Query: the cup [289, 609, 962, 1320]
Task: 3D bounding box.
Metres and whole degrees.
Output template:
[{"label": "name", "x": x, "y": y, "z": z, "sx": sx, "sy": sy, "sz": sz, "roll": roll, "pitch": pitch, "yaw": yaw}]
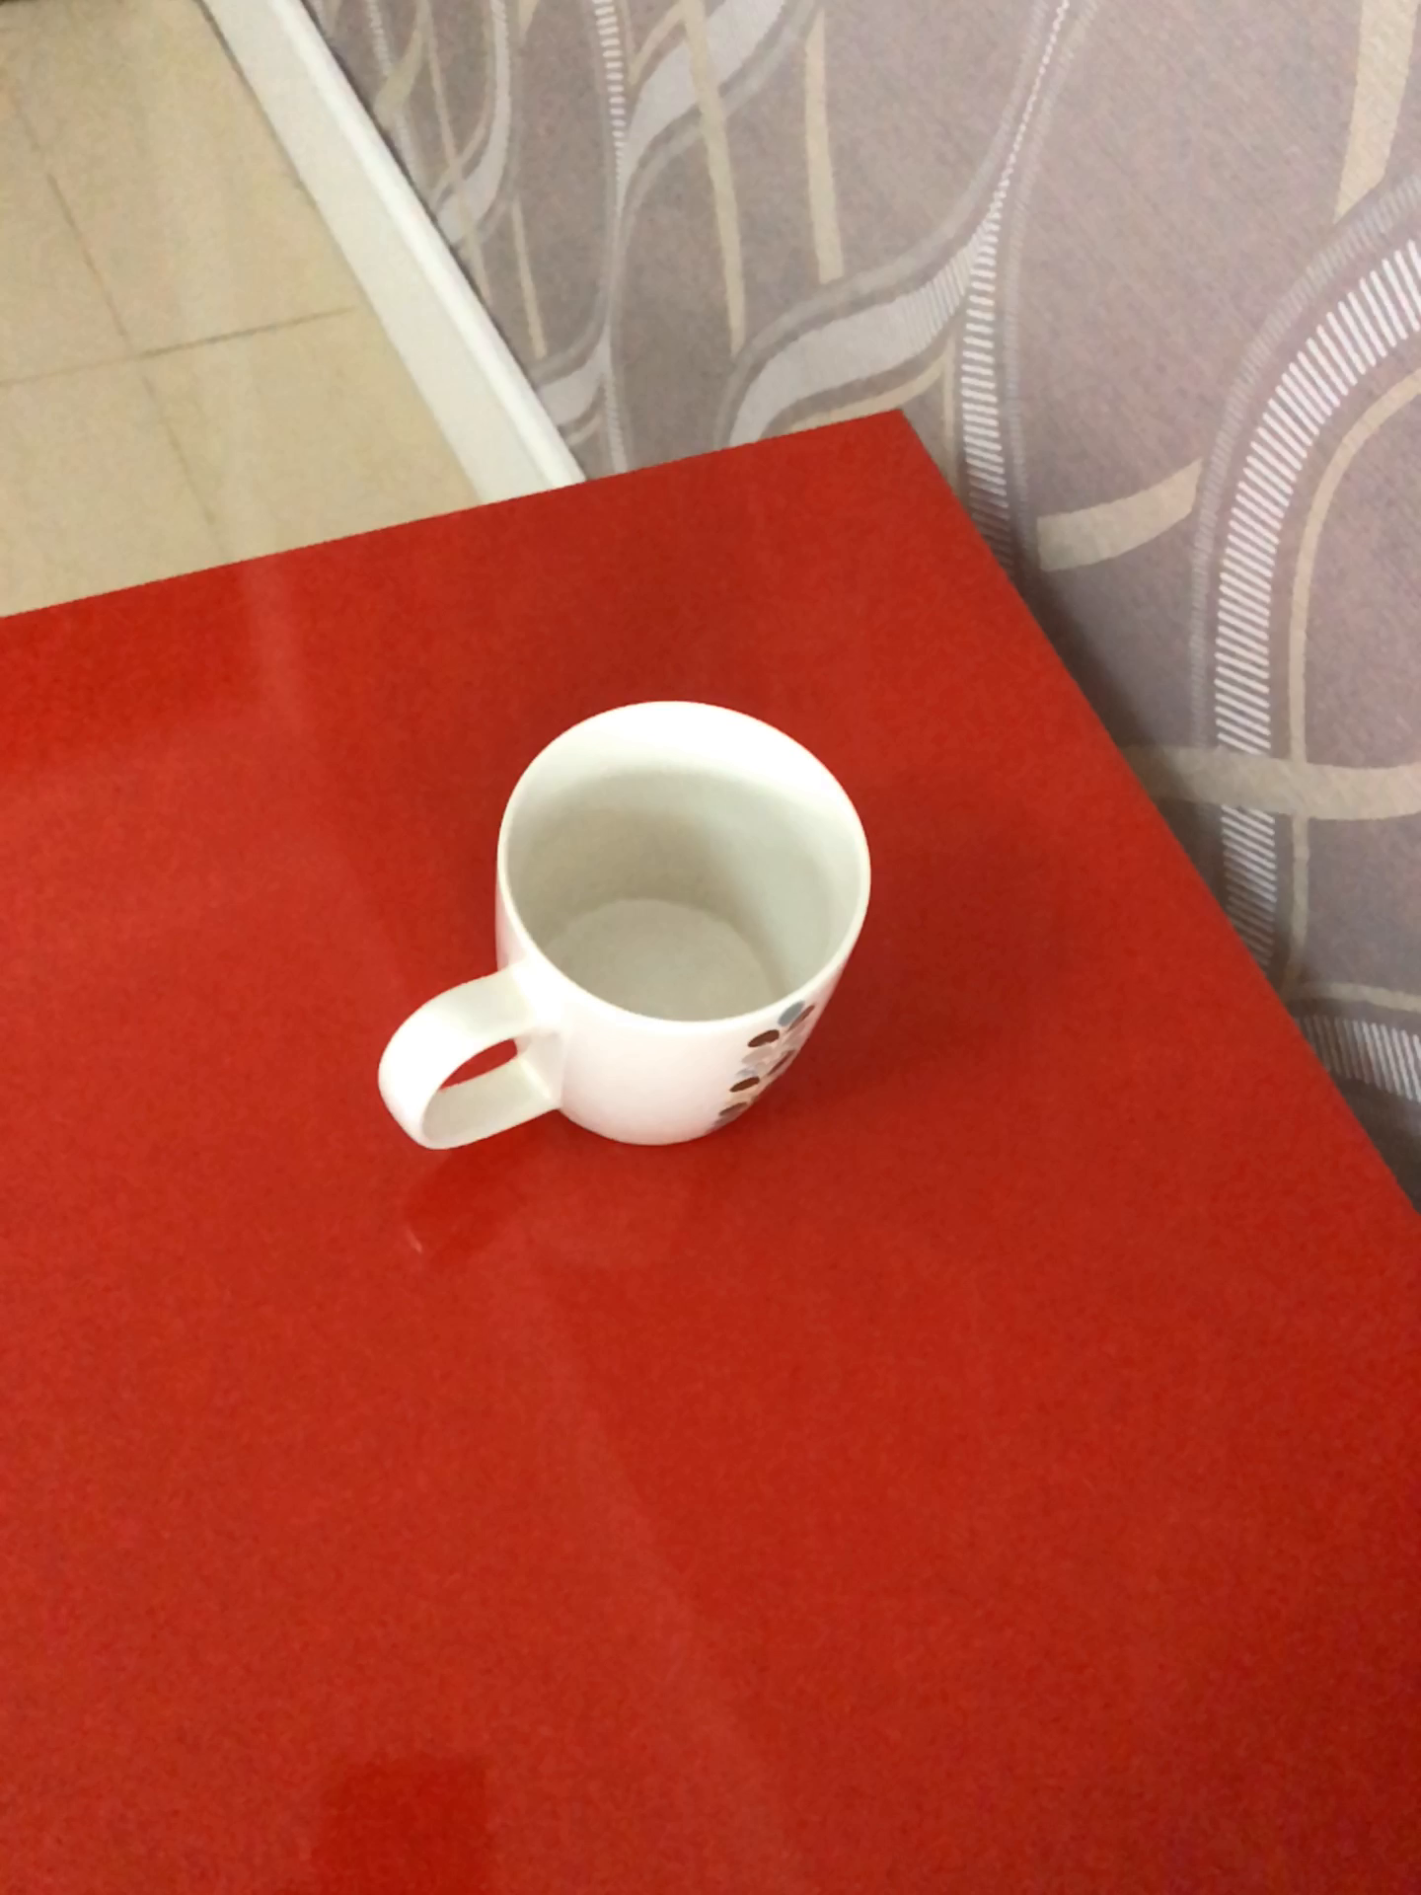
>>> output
[{"label": "cup", "x": -0.025, "y": 0.008, "z": 0.401, "sx": 0.120, "sy": 0.119, "sz": 0.090, "roll": -33, "pitch": 71, "yaw": -23}]
